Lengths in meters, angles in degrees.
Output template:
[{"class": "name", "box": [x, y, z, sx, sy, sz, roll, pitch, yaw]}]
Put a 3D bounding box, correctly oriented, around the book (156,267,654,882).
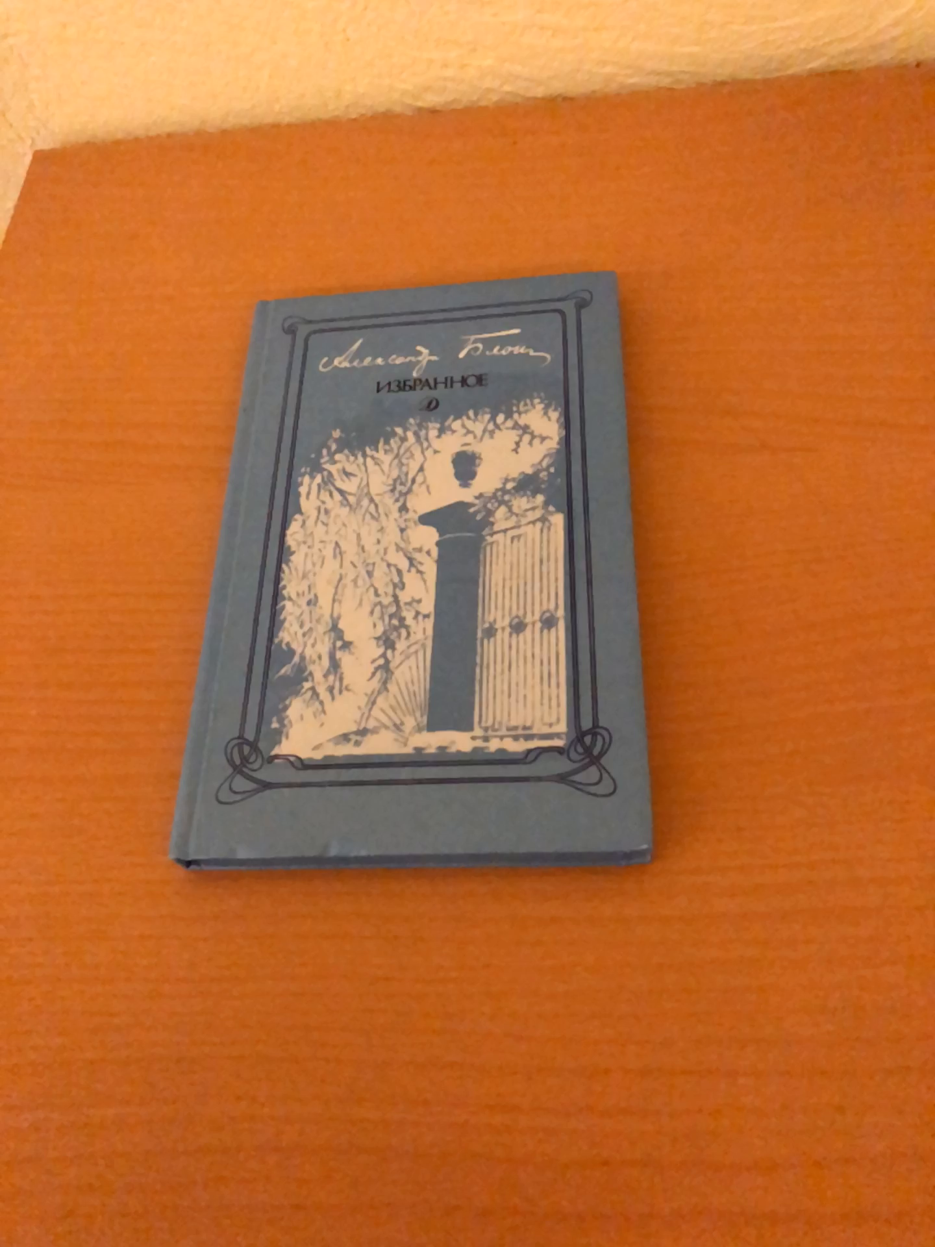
[{"class": "book", "box": [-0.016, -0.026, 0.333, 0.135, 0.020, 0.211, -3, 62, 7]}]
